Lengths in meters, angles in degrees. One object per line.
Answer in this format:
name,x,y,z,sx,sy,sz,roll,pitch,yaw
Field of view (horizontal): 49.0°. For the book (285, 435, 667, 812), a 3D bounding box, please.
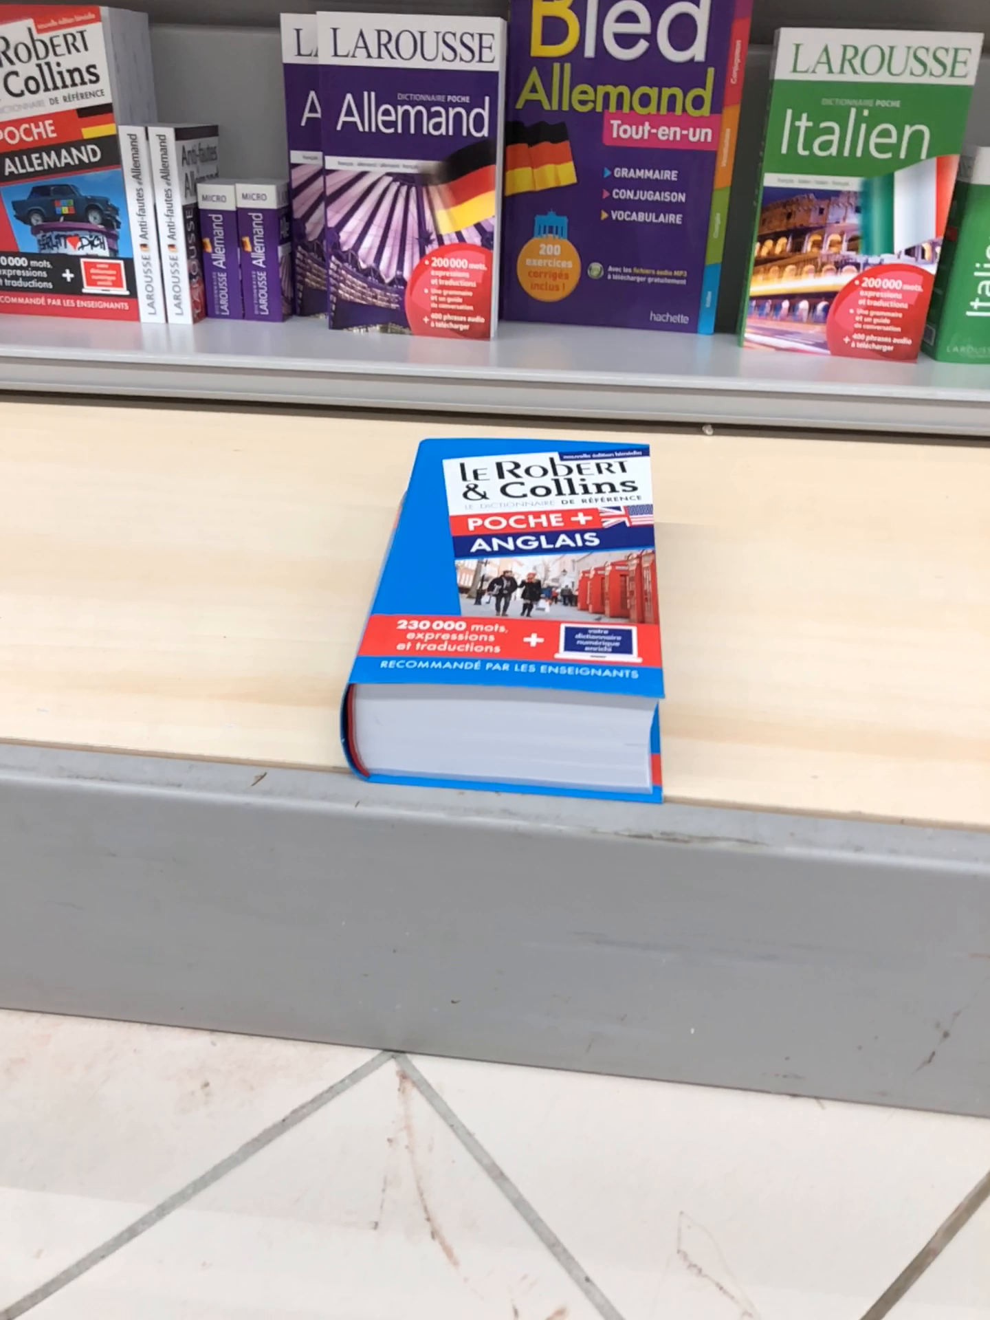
book,0.001,-0.026,0.451,0.128,0.051,0.185,3,39,4
